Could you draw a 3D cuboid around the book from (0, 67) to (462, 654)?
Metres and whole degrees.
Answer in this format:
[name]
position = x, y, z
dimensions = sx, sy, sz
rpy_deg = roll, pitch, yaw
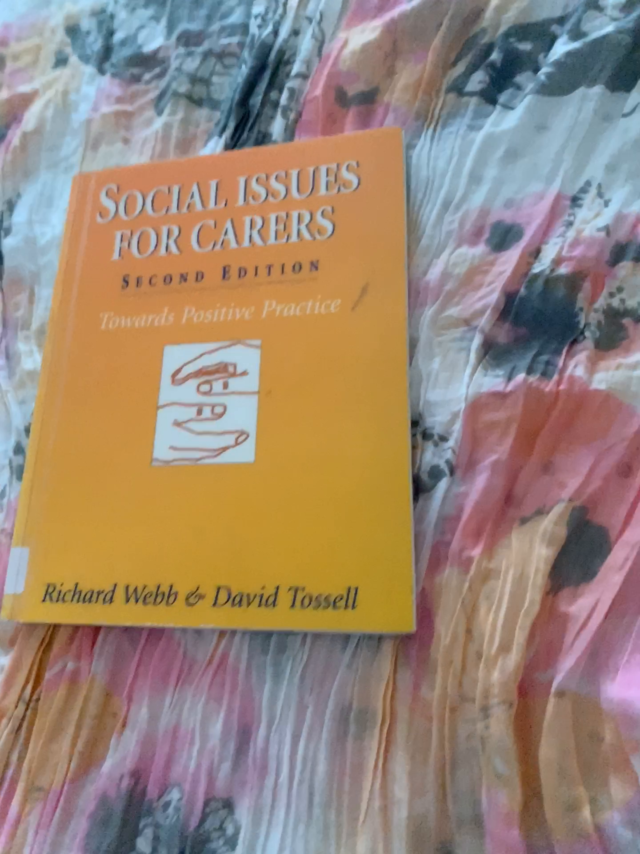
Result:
[book]
position = -0.039, -0.035, 0.326
dimensions = 0.200, 0.040, 0.271
rpy_deg = -3, 72, 14
